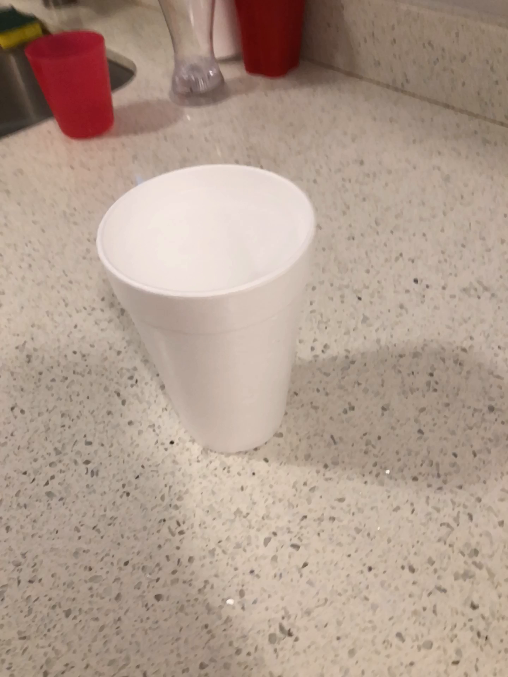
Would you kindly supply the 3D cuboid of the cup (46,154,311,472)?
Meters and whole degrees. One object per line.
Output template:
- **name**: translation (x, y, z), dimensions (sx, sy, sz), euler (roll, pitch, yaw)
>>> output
- **cup**: translation (-0.021, -0.011, 0.270), dimensions (0.088, 0.118, 0.090), euler (-3, 46, 3)

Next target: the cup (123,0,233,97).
- **cup**: translation (-0.119, -0.553, 0.962), dimensions (0.128, 0.245, 0.085), euler (4, 47, 10)

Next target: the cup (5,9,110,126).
- **cup**: translation (-0.300, -0.423, 0.882), dimensions (0.104, 0.135, 0.097), euler (-2, 46, 2)

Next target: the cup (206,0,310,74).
- **cup**: translation (0.015, -0.531, 0.885), dimensions (0.128, 0.175, 0.121), euler (-3, 46, 3)
